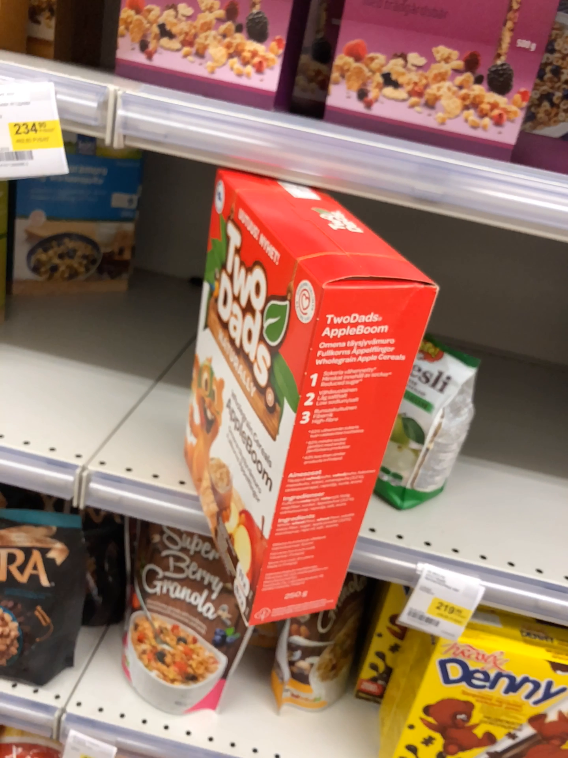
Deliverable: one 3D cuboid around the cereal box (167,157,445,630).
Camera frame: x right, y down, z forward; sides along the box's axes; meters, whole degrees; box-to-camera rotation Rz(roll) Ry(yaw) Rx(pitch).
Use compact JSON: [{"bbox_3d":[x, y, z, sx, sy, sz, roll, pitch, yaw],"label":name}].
[{"bbox_3d":[-0.012,0.006,0.466,0.080,0.268,0.201,-3,35,-24],"label":"cereal box"}]
